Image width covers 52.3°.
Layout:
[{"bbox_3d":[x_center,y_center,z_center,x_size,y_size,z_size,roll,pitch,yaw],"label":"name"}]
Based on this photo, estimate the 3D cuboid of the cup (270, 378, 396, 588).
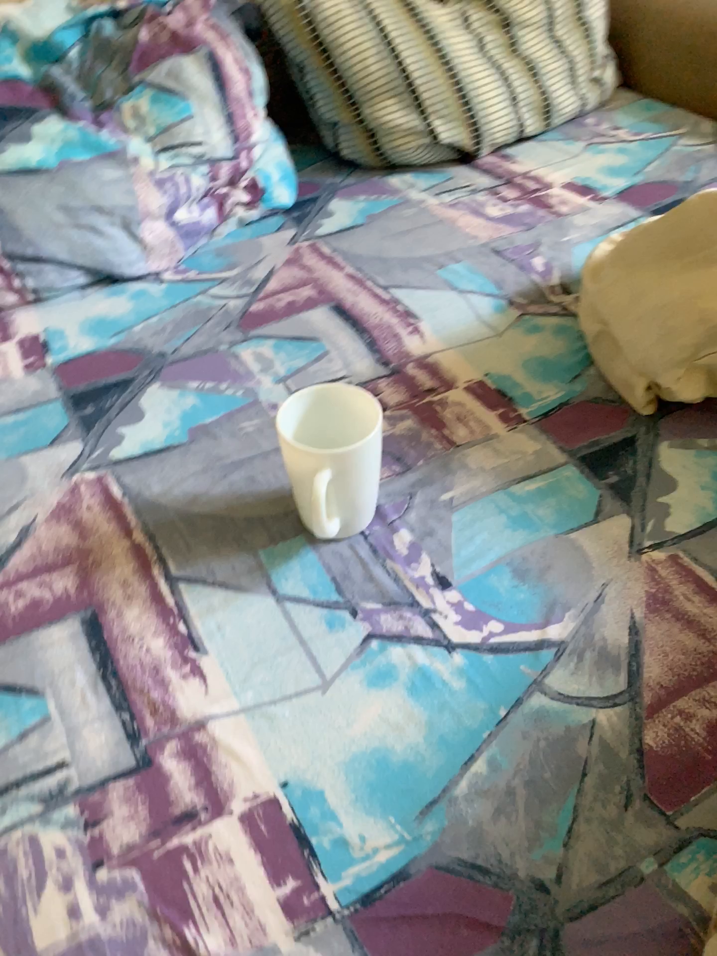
[{"bbox_3d":[-0.014,0.003,0.549,0.080,0.099,0.121,-2,44,3],"label":"cup"}]
